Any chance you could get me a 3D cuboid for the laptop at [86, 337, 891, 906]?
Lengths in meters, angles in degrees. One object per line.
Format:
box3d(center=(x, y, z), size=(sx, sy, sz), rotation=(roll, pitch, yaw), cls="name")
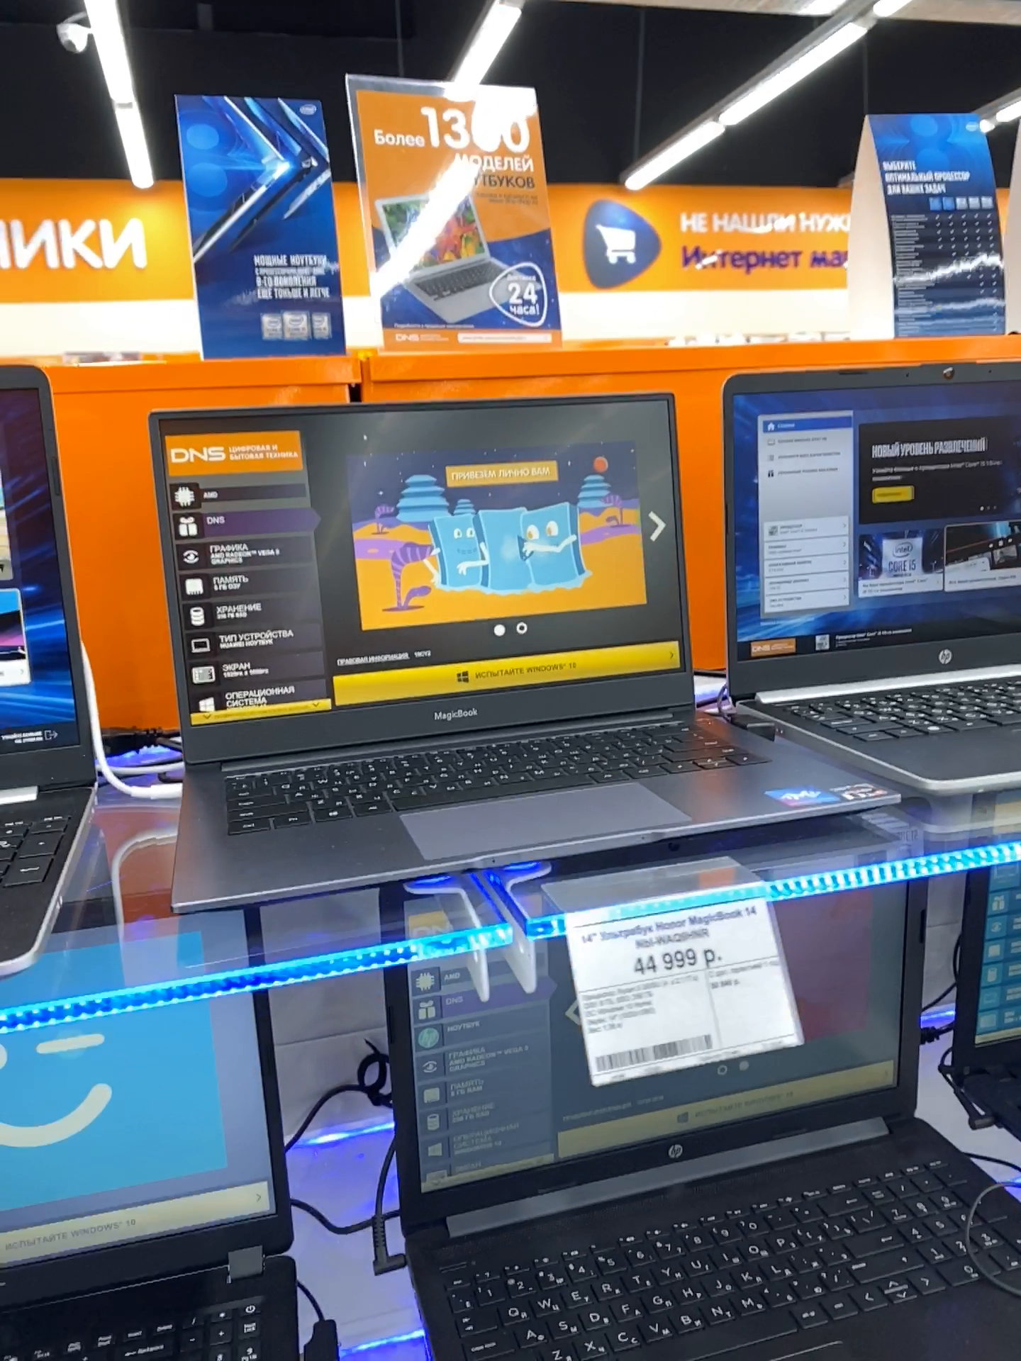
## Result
box3d(center=(-0.020, -0.050, 0.533), size=(0.323, 0.203, 0.238), rotation=(-6, 10, -16), cls="laptop")
